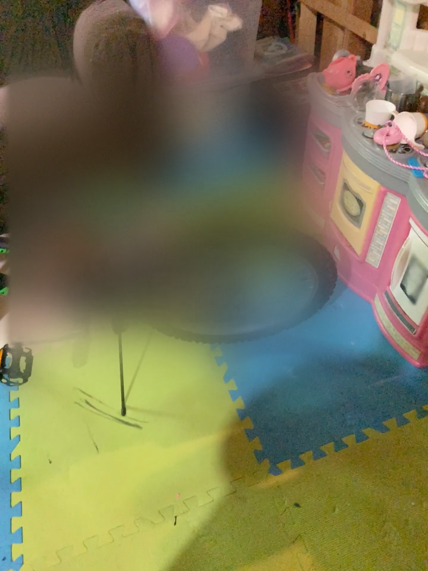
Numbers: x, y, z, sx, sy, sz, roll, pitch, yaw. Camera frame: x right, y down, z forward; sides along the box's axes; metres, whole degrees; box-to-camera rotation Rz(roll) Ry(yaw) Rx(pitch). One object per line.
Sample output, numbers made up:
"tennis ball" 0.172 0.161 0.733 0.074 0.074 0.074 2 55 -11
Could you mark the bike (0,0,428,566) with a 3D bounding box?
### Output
"bike" -0.359 0.001 0.907 1.268 0.841 0.536 -15 47 -3
